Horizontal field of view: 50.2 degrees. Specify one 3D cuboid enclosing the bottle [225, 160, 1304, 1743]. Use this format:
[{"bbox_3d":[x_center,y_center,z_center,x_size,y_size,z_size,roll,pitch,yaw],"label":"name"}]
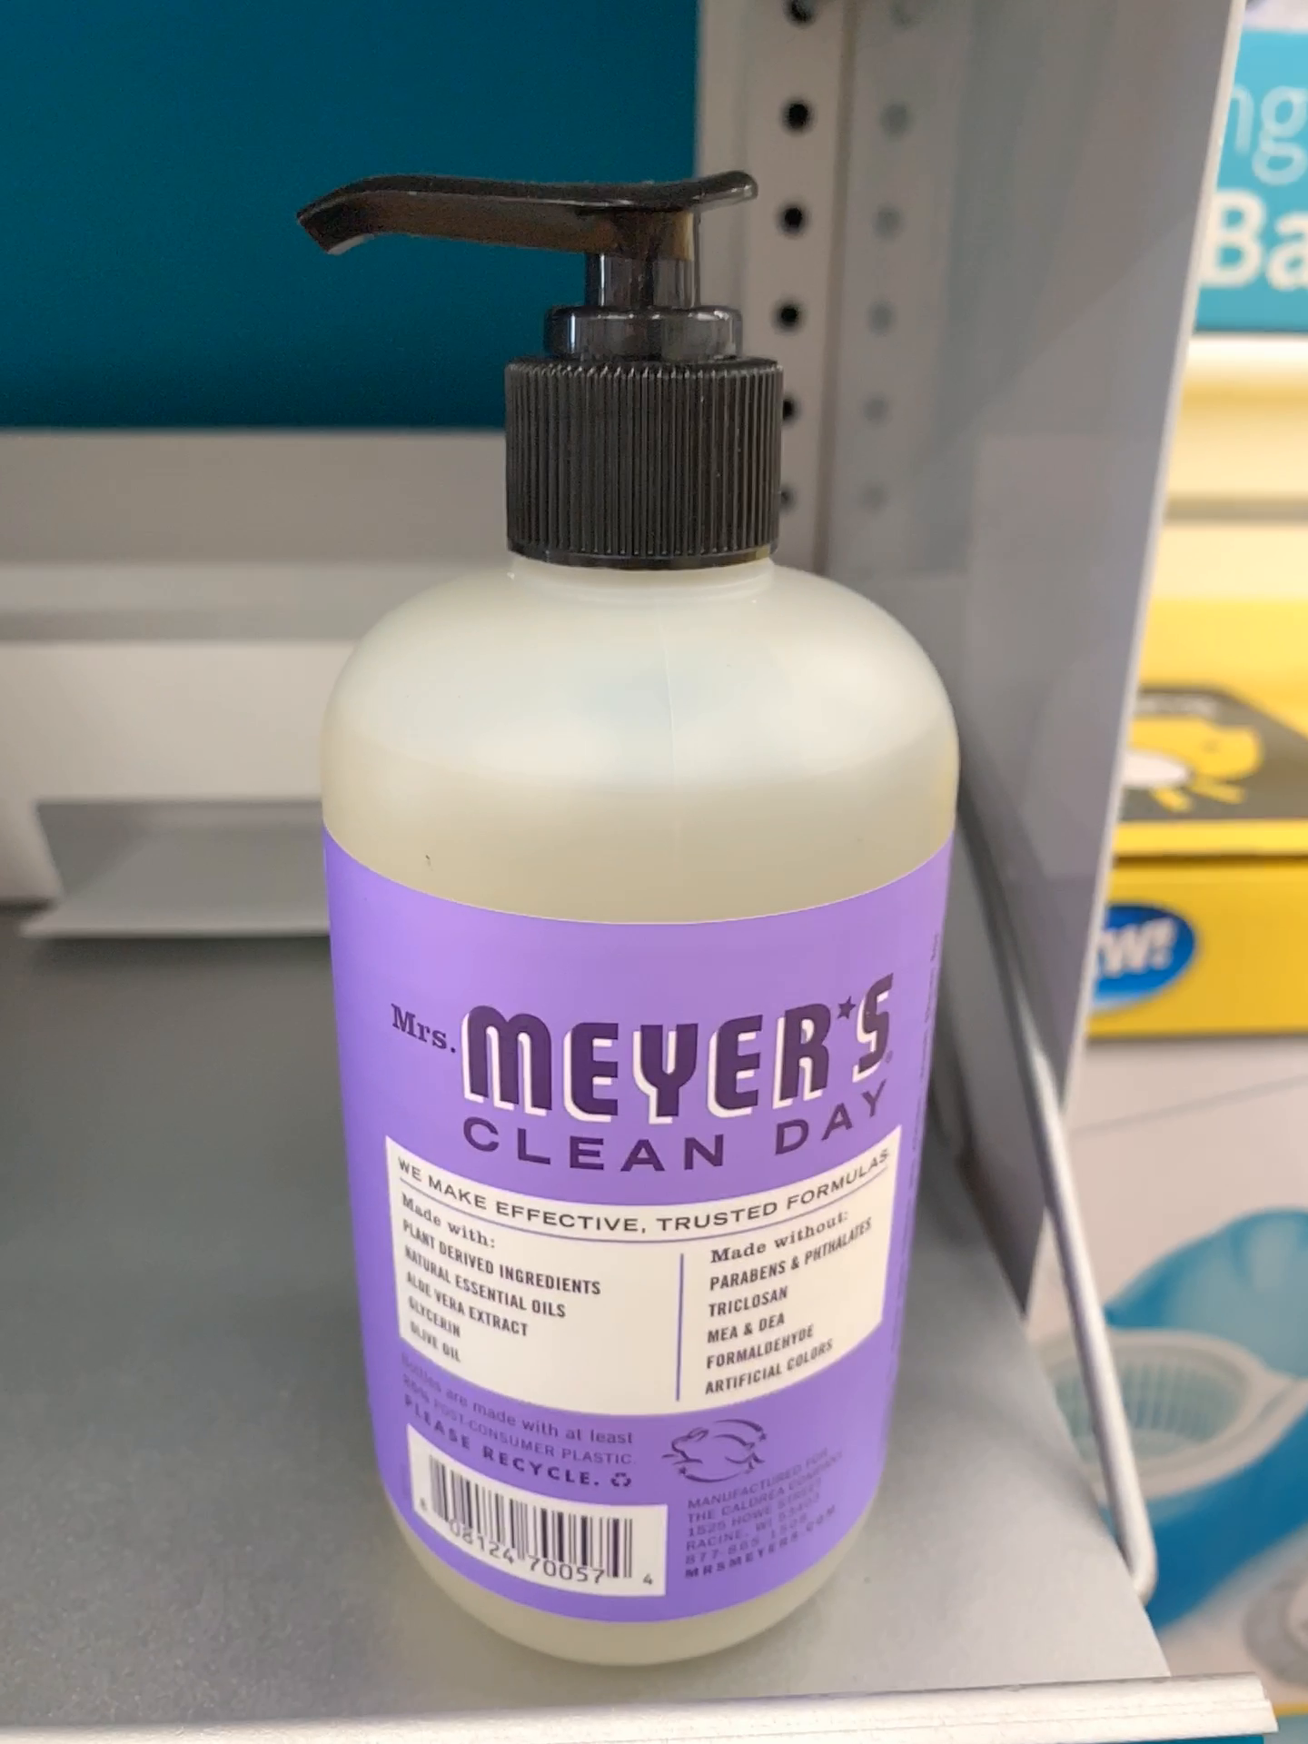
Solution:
[{"bbox_3d":[0.003,0.010,0.162,0.080,0.159,0.070,-4,23,-11],"label":"bottle"}]
